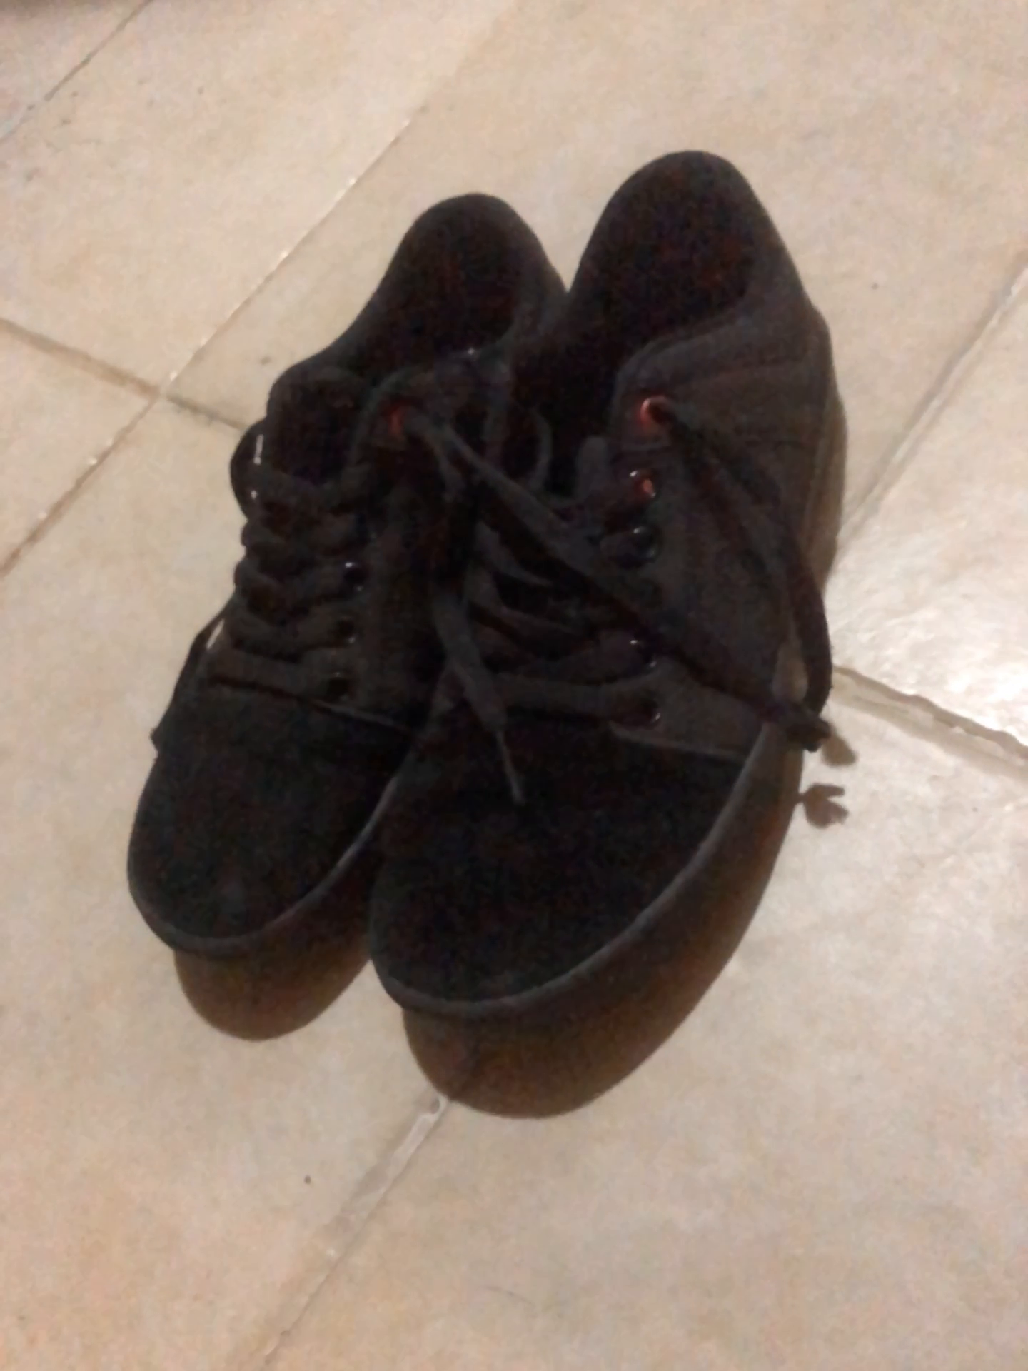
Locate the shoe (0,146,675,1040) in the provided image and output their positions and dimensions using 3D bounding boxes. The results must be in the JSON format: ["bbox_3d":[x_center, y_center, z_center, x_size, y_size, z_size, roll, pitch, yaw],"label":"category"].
[{"bbox_3d":[-0.051,-0.037,0.349,0.100,0.099,0.240,12,65,30],"label":"shoe"}]

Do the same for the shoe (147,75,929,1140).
[{"bbox_3d":[0.027,-0.029,0.298,0.100,0.099,0.241,8,63,29],"label":"shoe"}]
